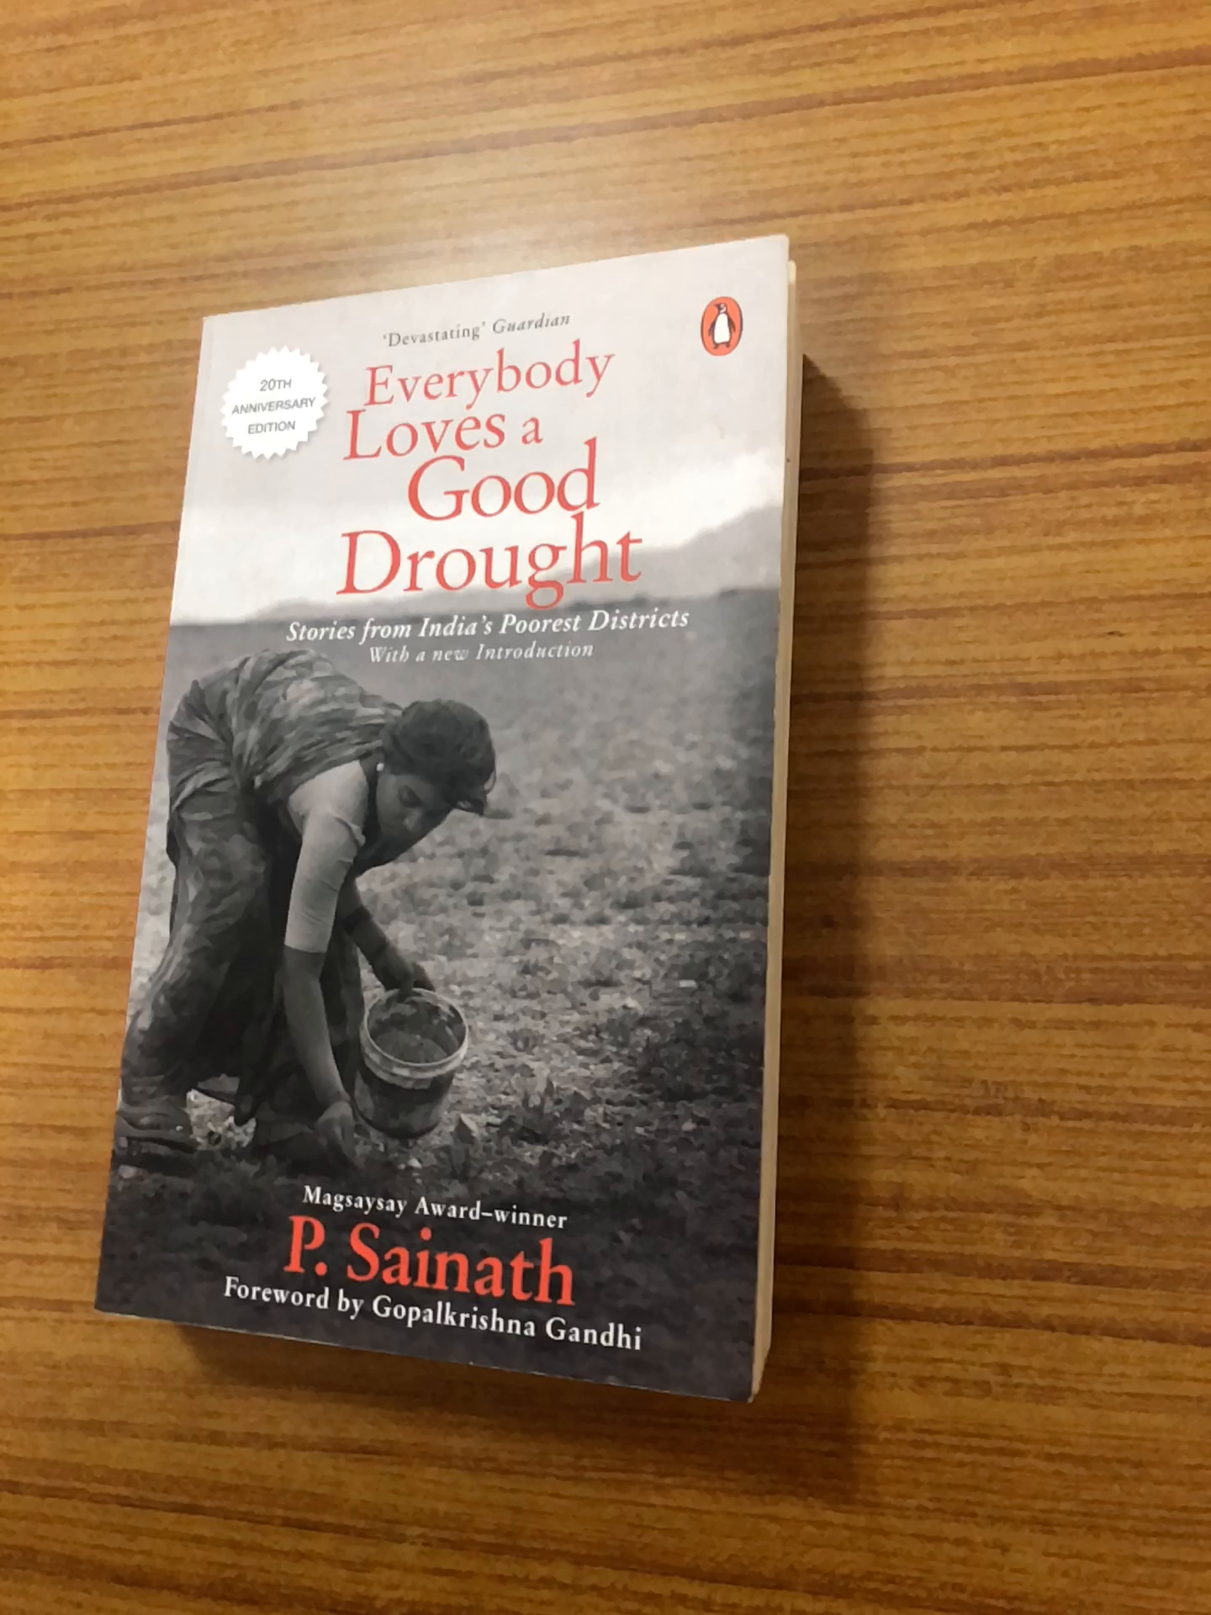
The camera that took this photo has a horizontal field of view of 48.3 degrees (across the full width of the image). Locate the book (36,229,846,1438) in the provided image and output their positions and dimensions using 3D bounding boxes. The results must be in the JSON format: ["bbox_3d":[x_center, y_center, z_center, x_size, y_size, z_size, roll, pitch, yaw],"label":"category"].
[{"bbox_3d":[-0.028,0.000,0.269,0.140,0.040,0.210,1,81,15],"label":"book"}]
